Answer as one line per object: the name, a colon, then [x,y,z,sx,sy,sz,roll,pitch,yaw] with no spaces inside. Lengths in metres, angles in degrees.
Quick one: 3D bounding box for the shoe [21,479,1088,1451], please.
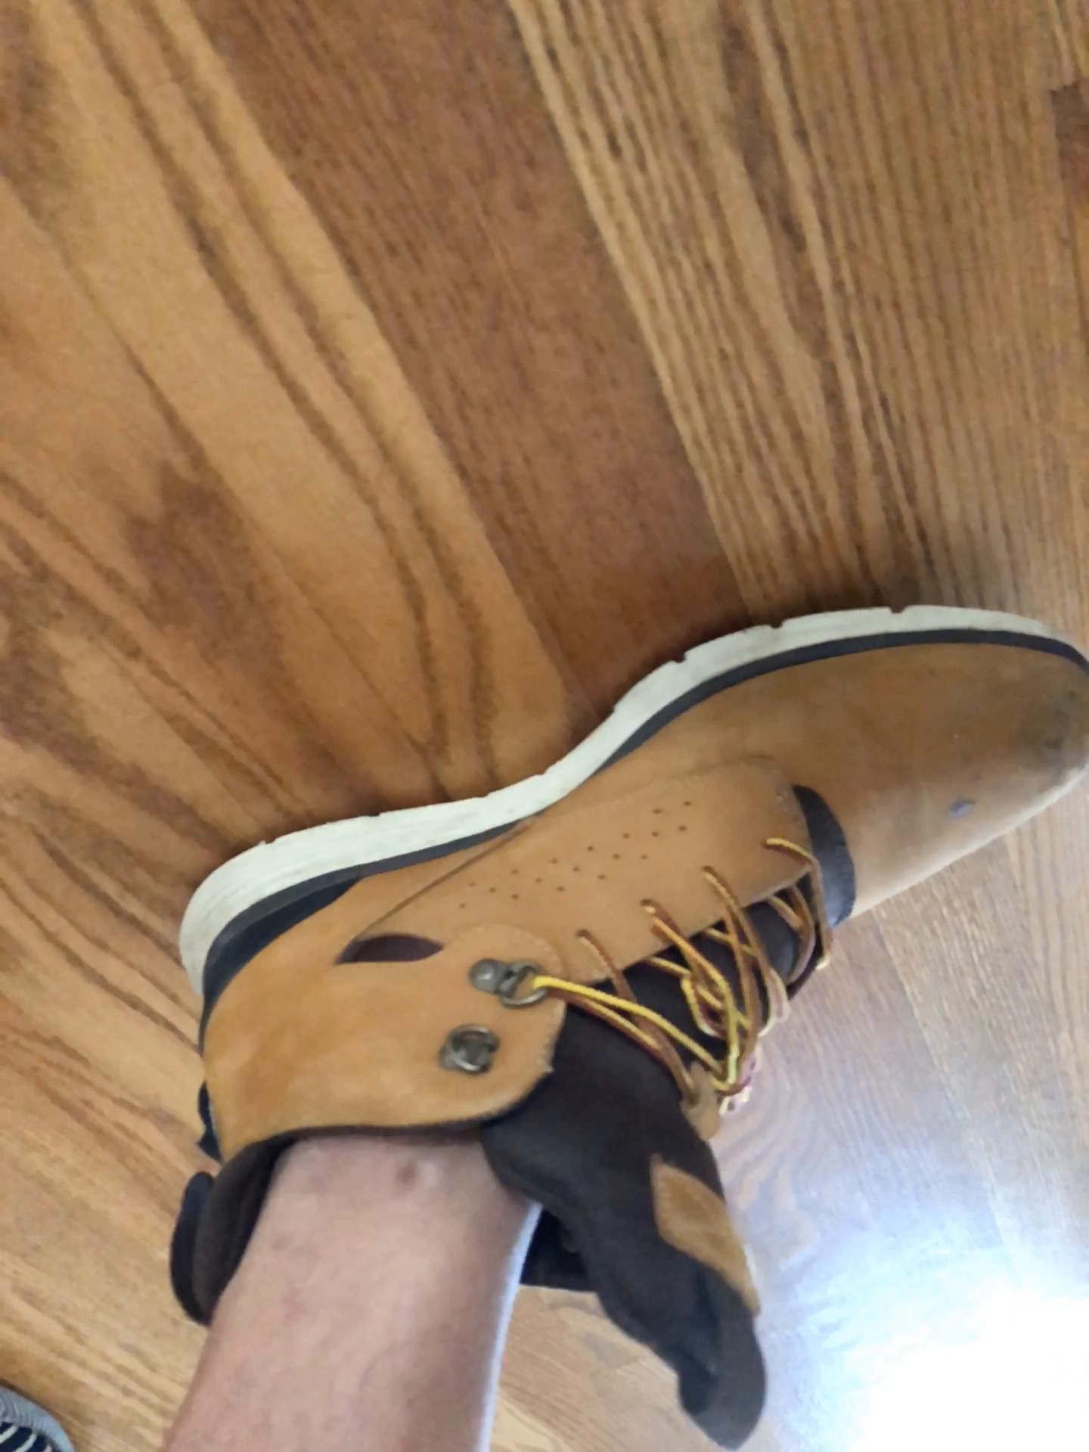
shoe: [0.036,0.080,0.335,0.310,0.169,0.121,-25,128,-1]
